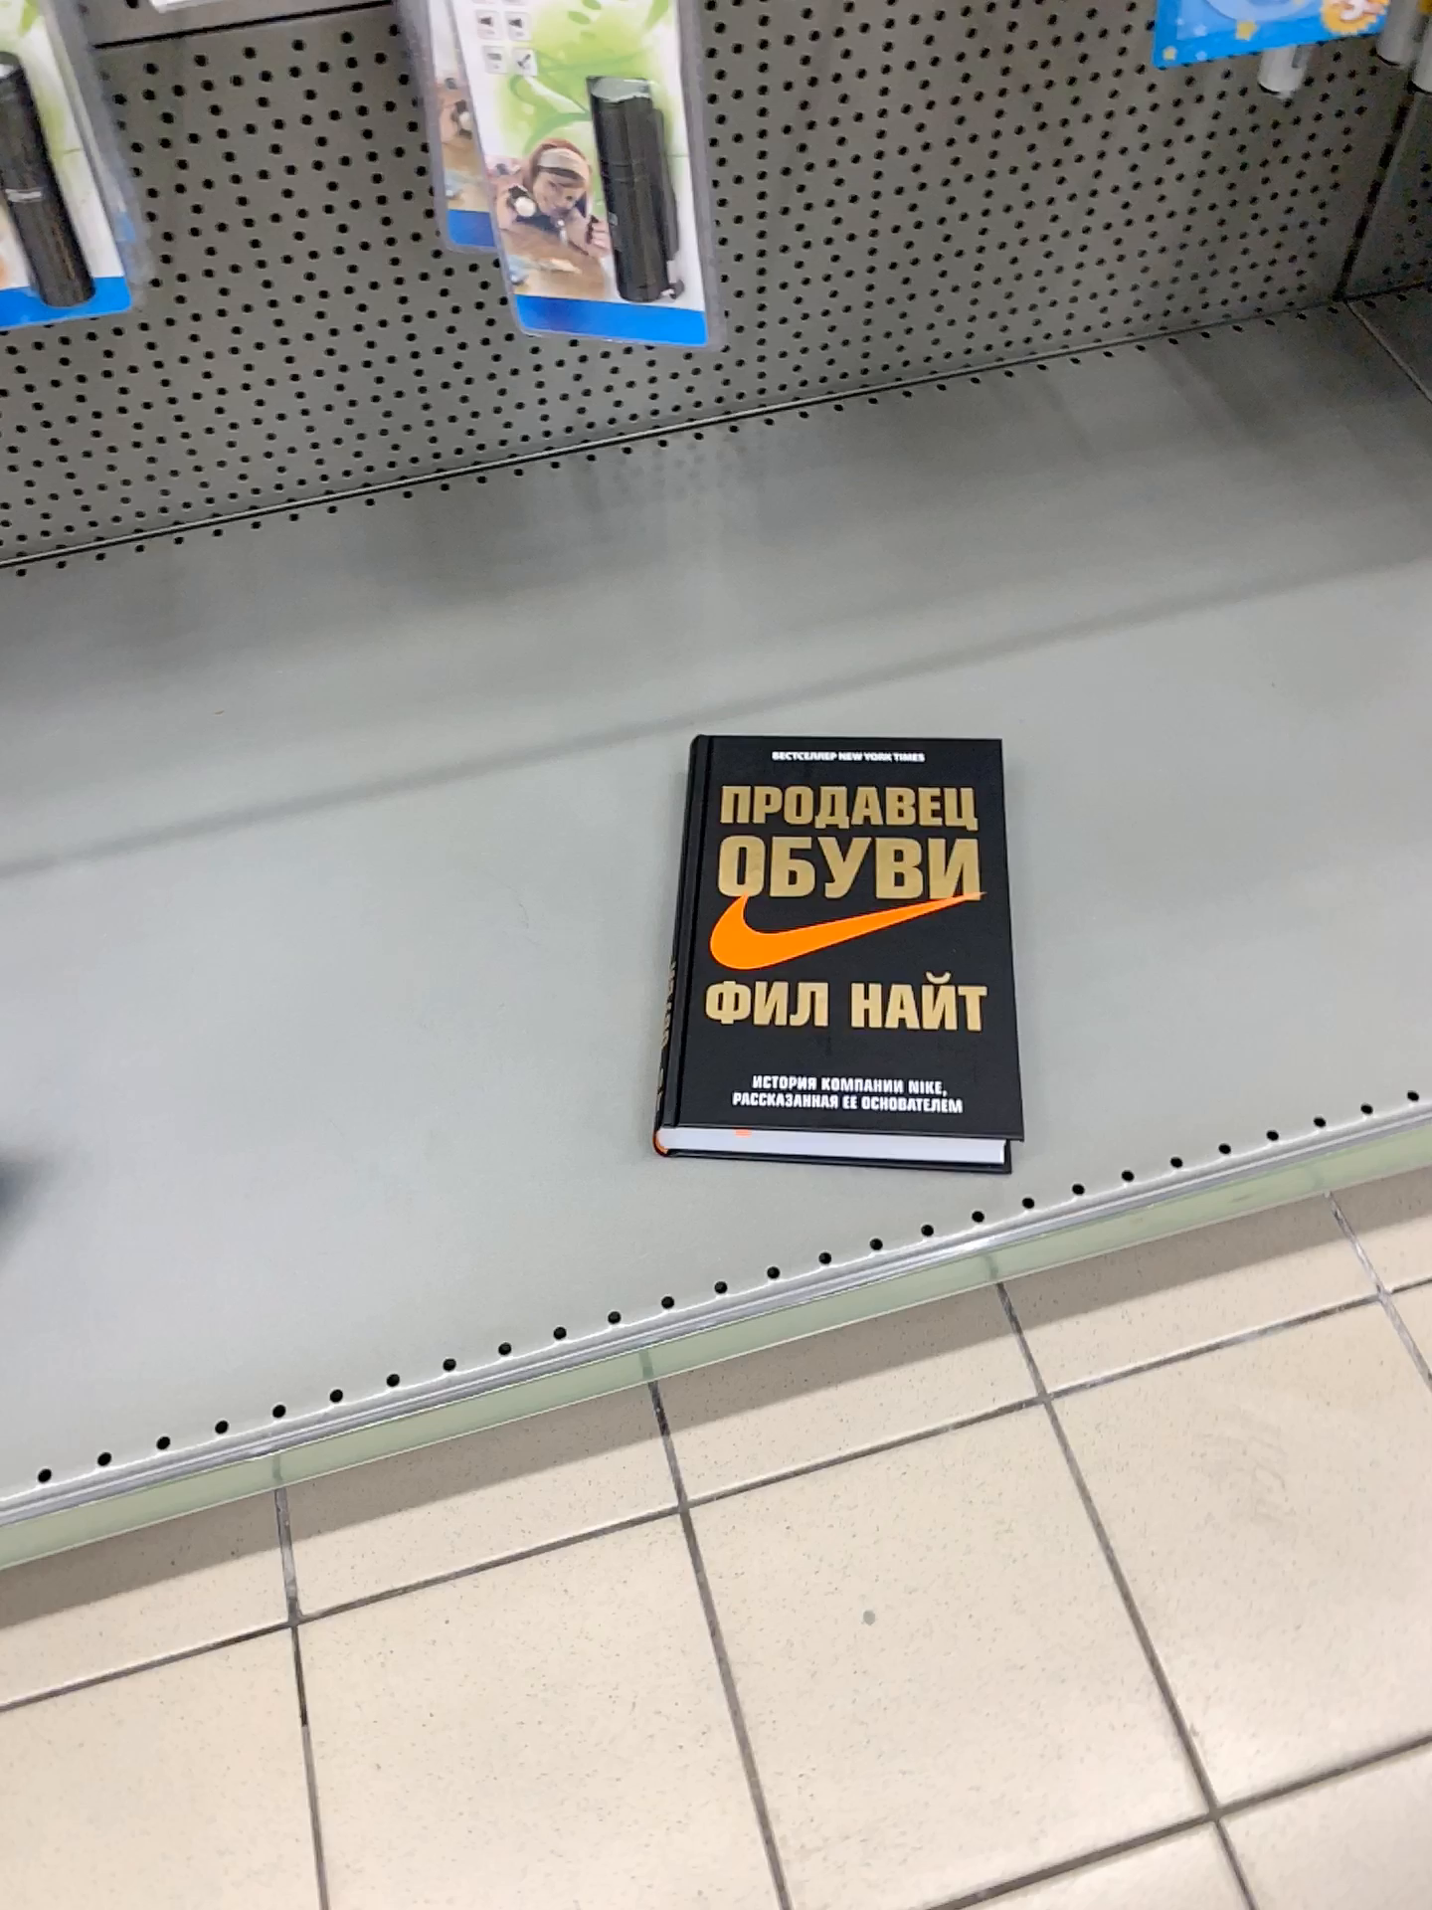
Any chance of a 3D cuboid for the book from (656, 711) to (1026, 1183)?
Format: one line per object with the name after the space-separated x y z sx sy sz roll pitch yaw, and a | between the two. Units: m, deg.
0.064 -0.013 0.748 0.166 0.049 0.250 2 56 3 | book
